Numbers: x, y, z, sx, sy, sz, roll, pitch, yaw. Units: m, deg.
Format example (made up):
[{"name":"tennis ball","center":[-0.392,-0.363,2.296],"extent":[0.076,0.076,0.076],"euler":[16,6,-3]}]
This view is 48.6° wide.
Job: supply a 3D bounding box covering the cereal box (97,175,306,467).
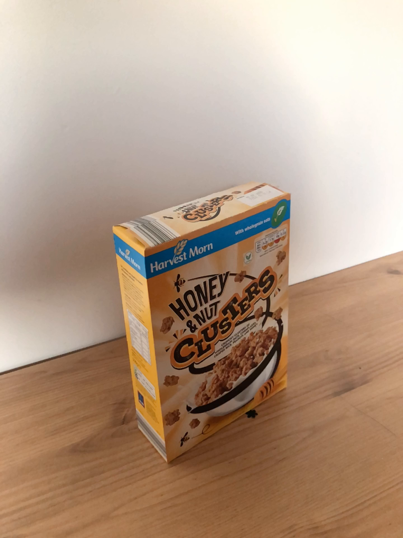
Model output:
[{"name":"cereal box","center":[0.011,0.050,0.473],"extent":[0.190,0.248,0.070],"euler":[-22,34,-31]}]
